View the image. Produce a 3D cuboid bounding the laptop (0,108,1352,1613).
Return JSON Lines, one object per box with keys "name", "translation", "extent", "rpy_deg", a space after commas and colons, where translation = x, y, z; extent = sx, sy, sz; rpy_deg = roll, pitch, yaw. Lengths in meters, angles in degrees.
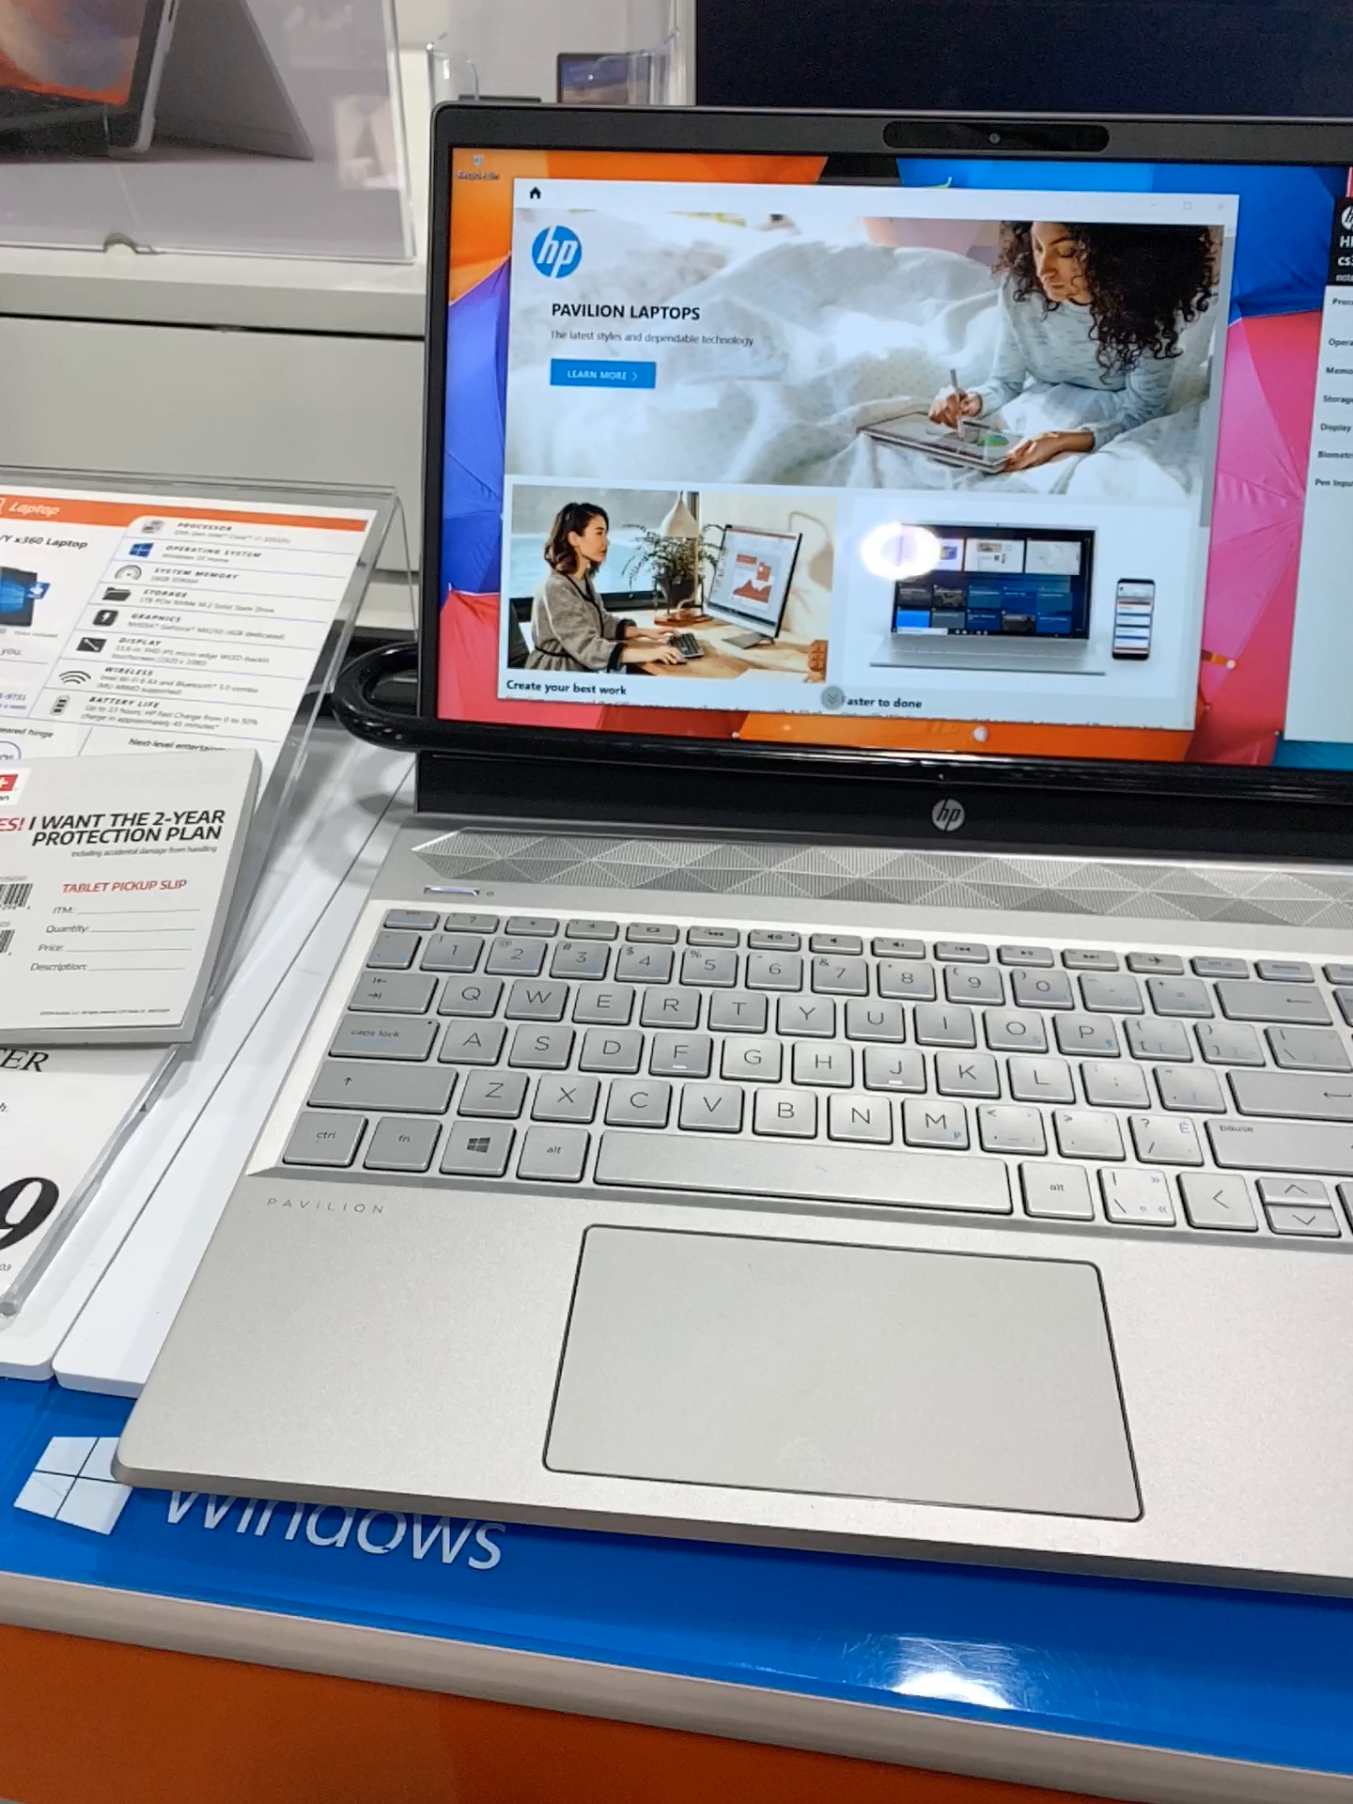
{"name": "laptop", "translation": [0.080, -0.059, 0.326], "extent": [0.332, 0.175, 0.335], "rpy_deg": [3, 37, 4]}
